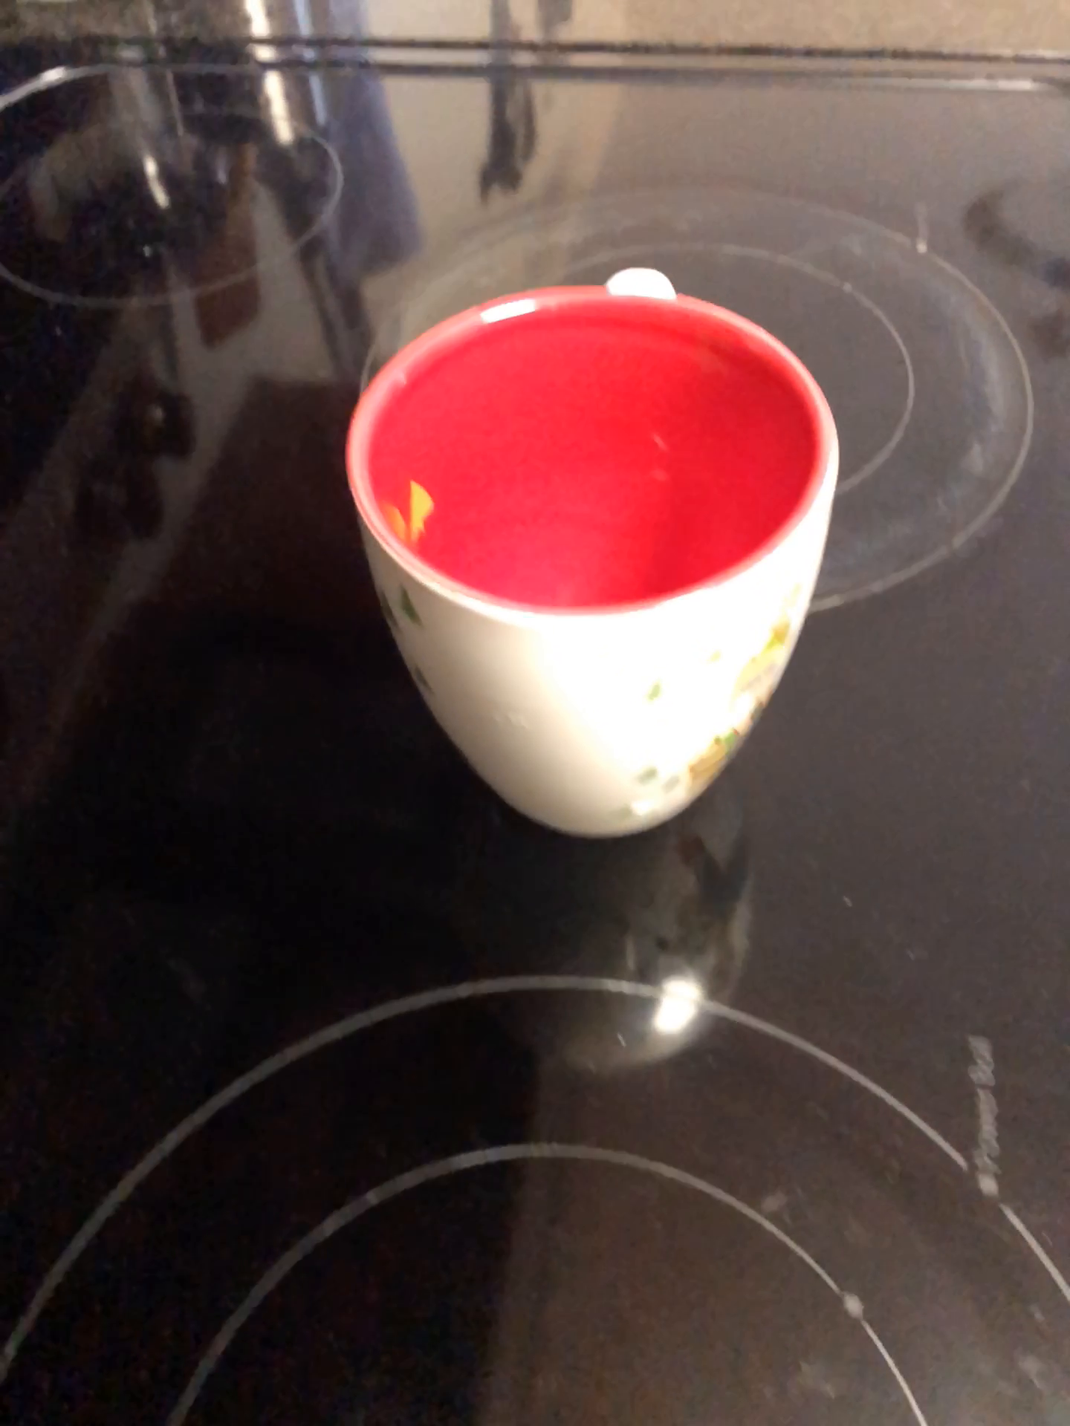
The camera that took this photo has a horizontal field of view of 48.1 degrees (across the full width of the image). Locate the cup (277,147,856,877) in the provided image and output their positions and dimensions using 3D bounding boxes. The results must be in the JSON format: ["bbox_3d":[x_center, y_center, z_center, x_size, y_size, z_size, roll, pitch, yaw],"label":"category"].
[{"bbox_3d":[0.015,-0.051,0.287,0.100,0.100,0.140,3,53,7],"label":"cup"}]
